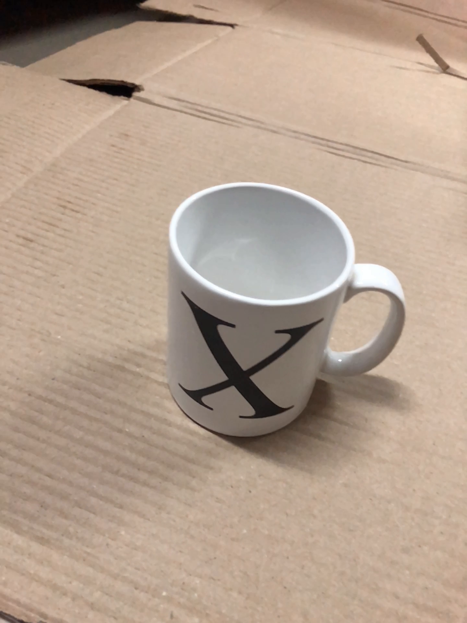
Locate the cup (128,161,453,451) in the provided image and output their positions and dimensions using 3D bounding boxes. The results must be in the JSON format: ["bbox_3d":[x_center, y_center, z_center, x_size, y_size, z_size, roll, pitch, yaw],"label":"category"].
[{"bbox_3d":[0.017,-0.002,0.235,0.110,0.089,0.081,6,41,-2],"label":"cup"}]
